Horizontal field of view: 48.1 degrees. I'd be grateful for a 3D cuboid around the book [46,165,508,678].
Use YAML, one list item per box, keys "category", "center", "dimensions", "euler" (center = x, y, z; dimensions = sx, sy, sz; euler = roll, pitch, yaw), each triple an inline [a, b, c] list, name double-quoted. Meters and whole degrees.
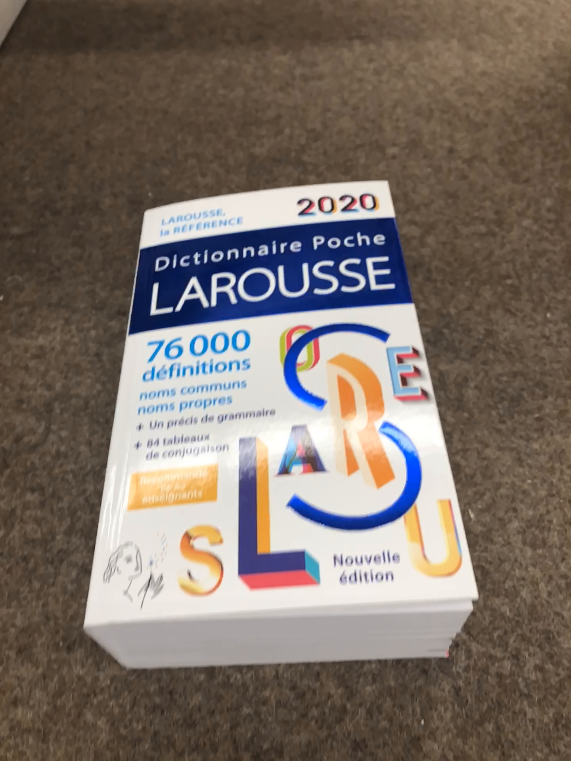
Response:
- category: "book"
  center: [-0.007, 0.002, 0.241]
  dimensions: [0.116, 0.060, 0.185]
  euler: [-3, 53, -2]
